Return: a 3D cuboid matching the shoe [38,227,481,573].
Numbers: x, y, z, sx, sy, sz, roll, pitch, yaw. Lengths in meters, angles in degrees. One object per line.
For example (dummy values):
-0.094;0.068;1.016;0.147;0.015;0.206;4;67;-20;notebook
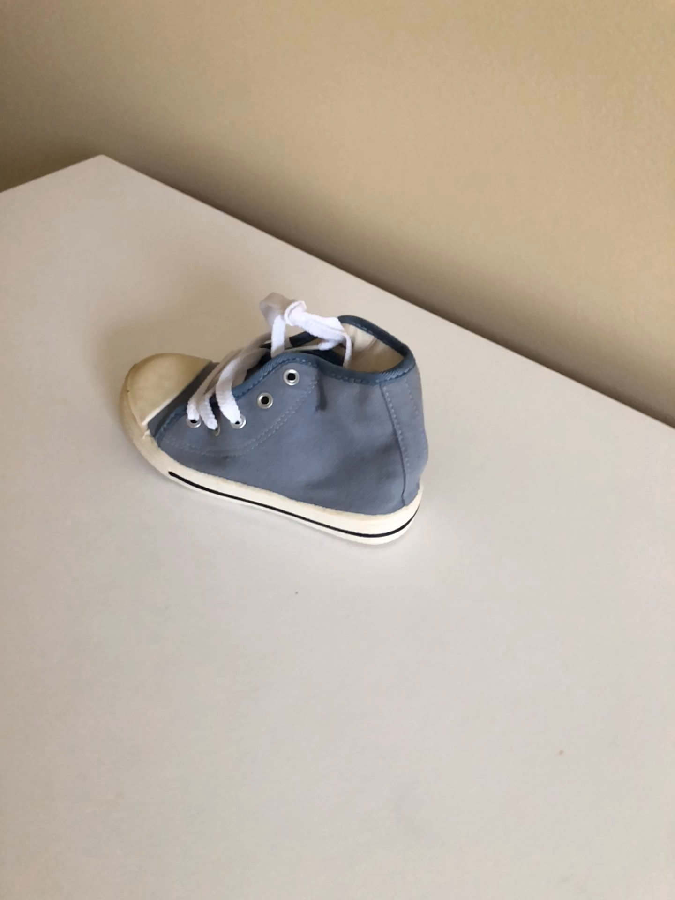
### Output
-0.038;-0.030;0.382;0.190;0.099;0.081;18;47;15;shoe
